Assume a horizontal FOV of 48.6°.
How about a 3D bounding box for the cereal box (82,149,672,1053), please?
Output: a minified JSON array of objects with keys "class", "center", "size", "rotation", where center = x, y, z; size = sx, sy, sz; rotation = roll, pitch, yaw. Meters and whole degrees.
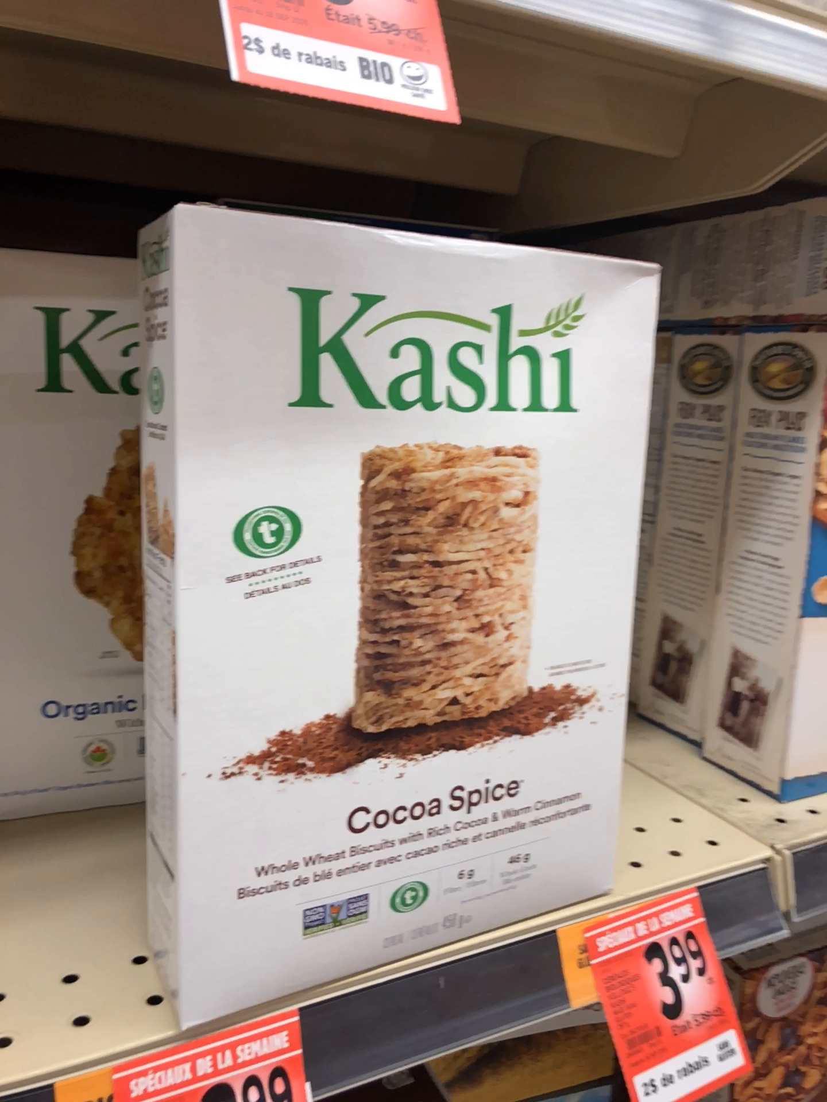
[{"class":"cereal box","center":[-0.009,0.014,0.354],"size":[0.210,0.279,0.060],"rotation":[-4,11,-30]}]
